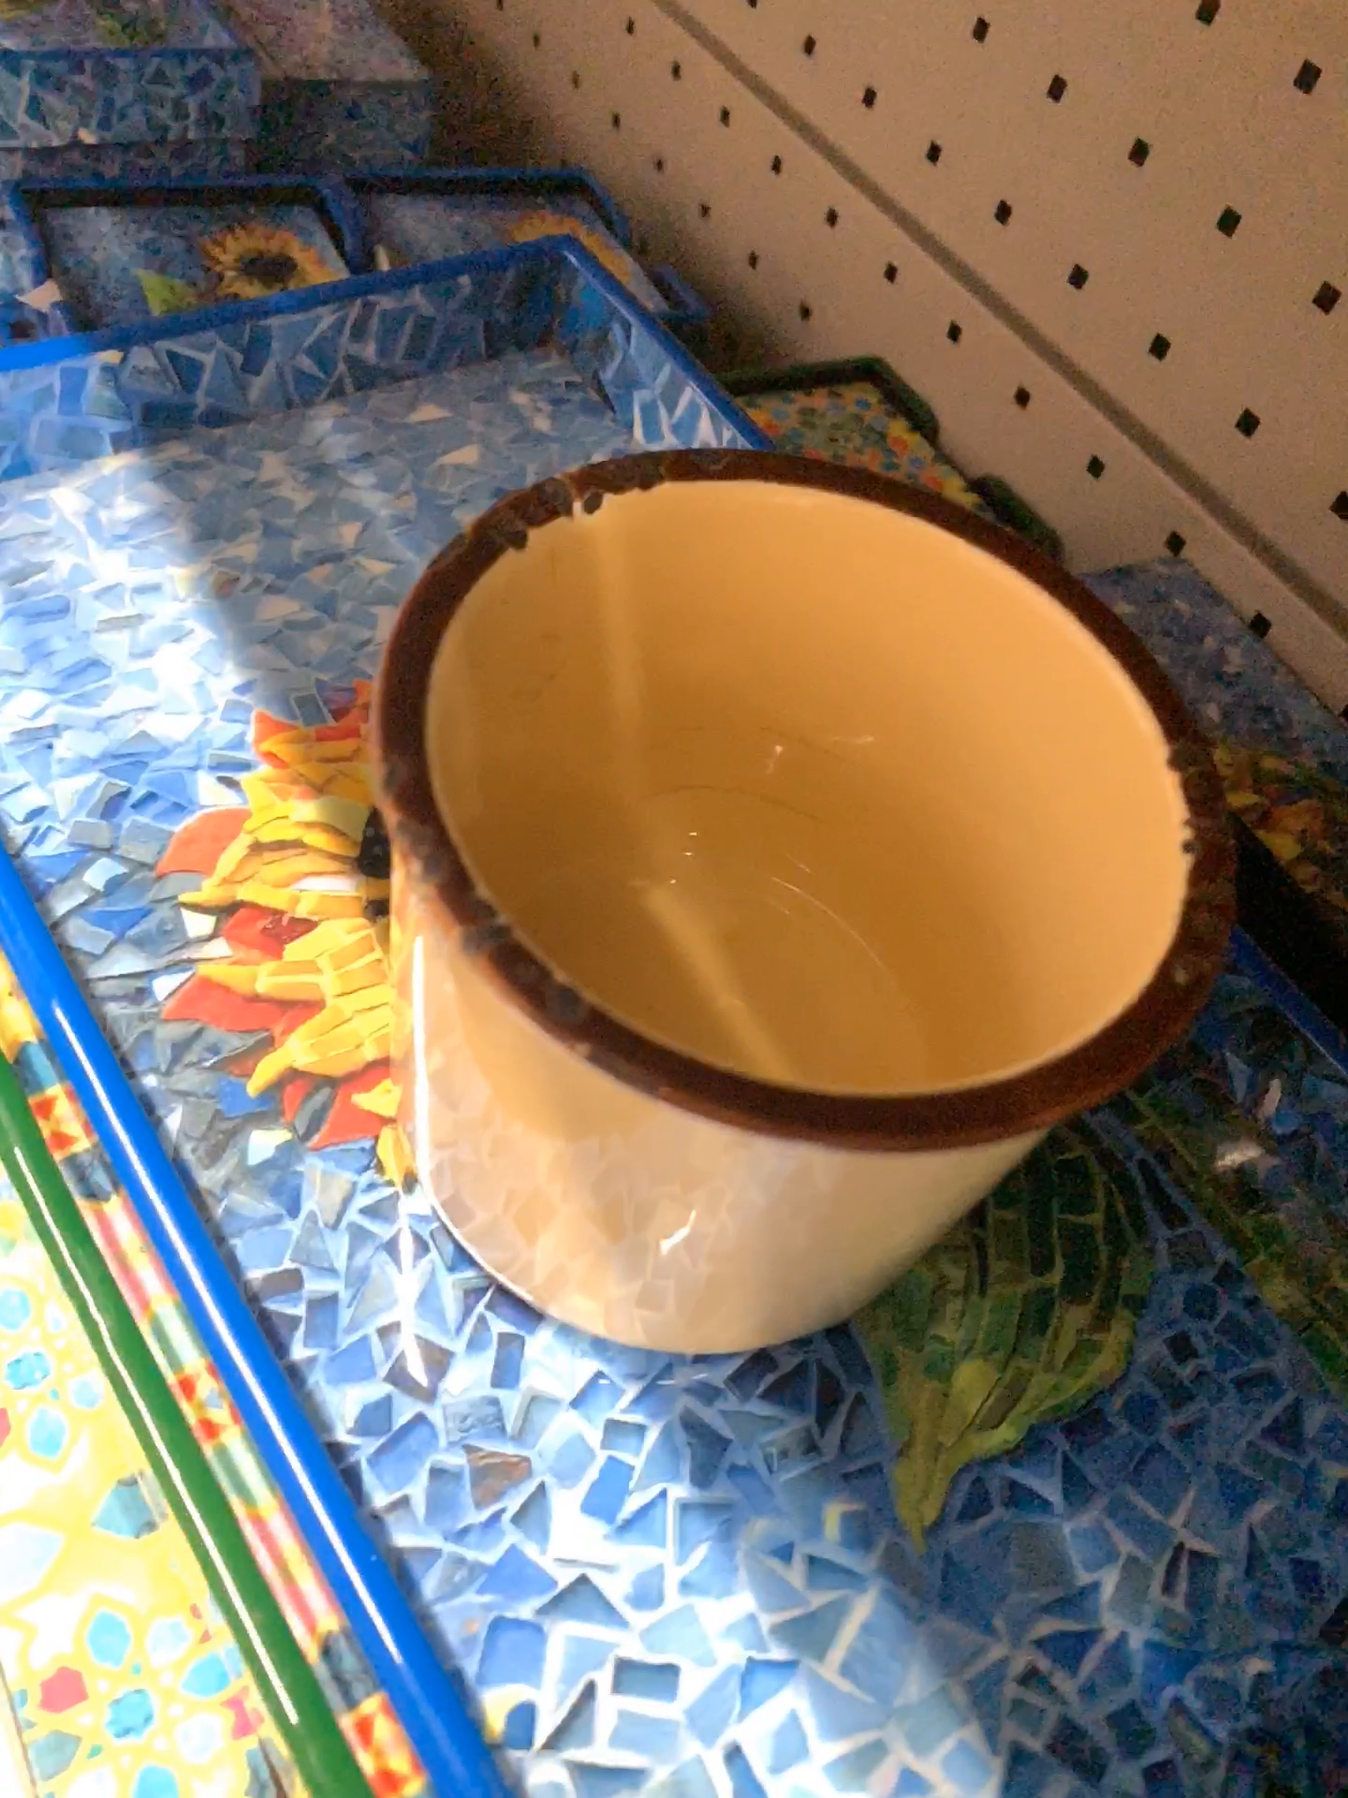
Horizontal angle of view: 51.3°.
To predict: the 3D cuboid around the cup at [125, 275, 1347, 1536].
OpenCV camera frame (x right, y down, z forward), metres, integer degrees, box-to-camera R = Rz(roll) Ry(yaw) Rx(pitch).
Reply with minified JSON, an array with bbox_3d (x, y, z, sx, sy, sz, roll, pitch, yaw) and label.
[{"bbox_3d":[0.001,-0.007,0.168,0.090,0.070,0.110,-19,61,-28],"label":"cup"}]
